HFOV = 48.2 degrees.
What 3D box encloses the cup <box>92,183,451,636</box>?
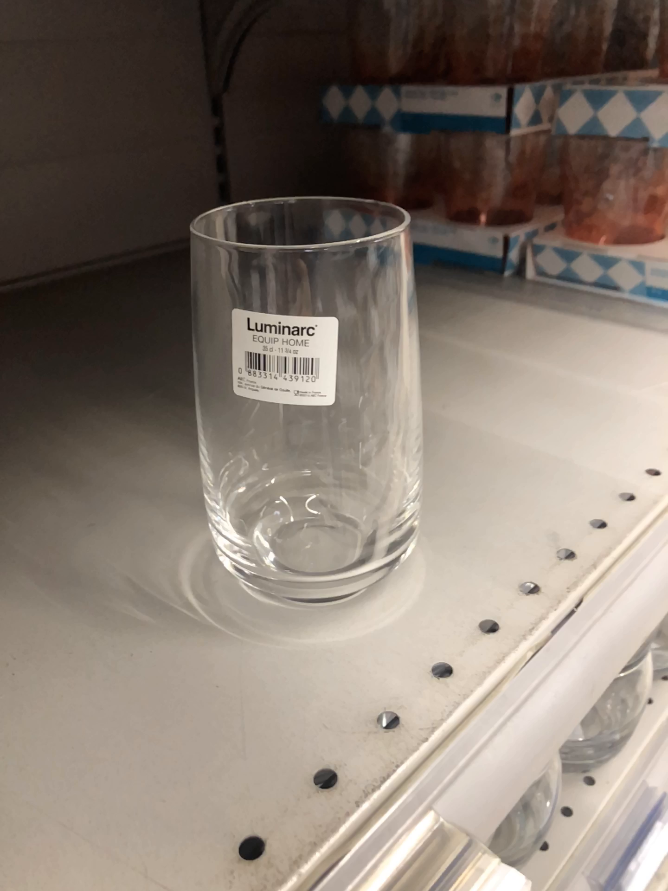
[{"bbox_3d":[-0.011,-0.016,0.234,0.076,0.112,0.077,-1,28,1],"label":"cup"}]
